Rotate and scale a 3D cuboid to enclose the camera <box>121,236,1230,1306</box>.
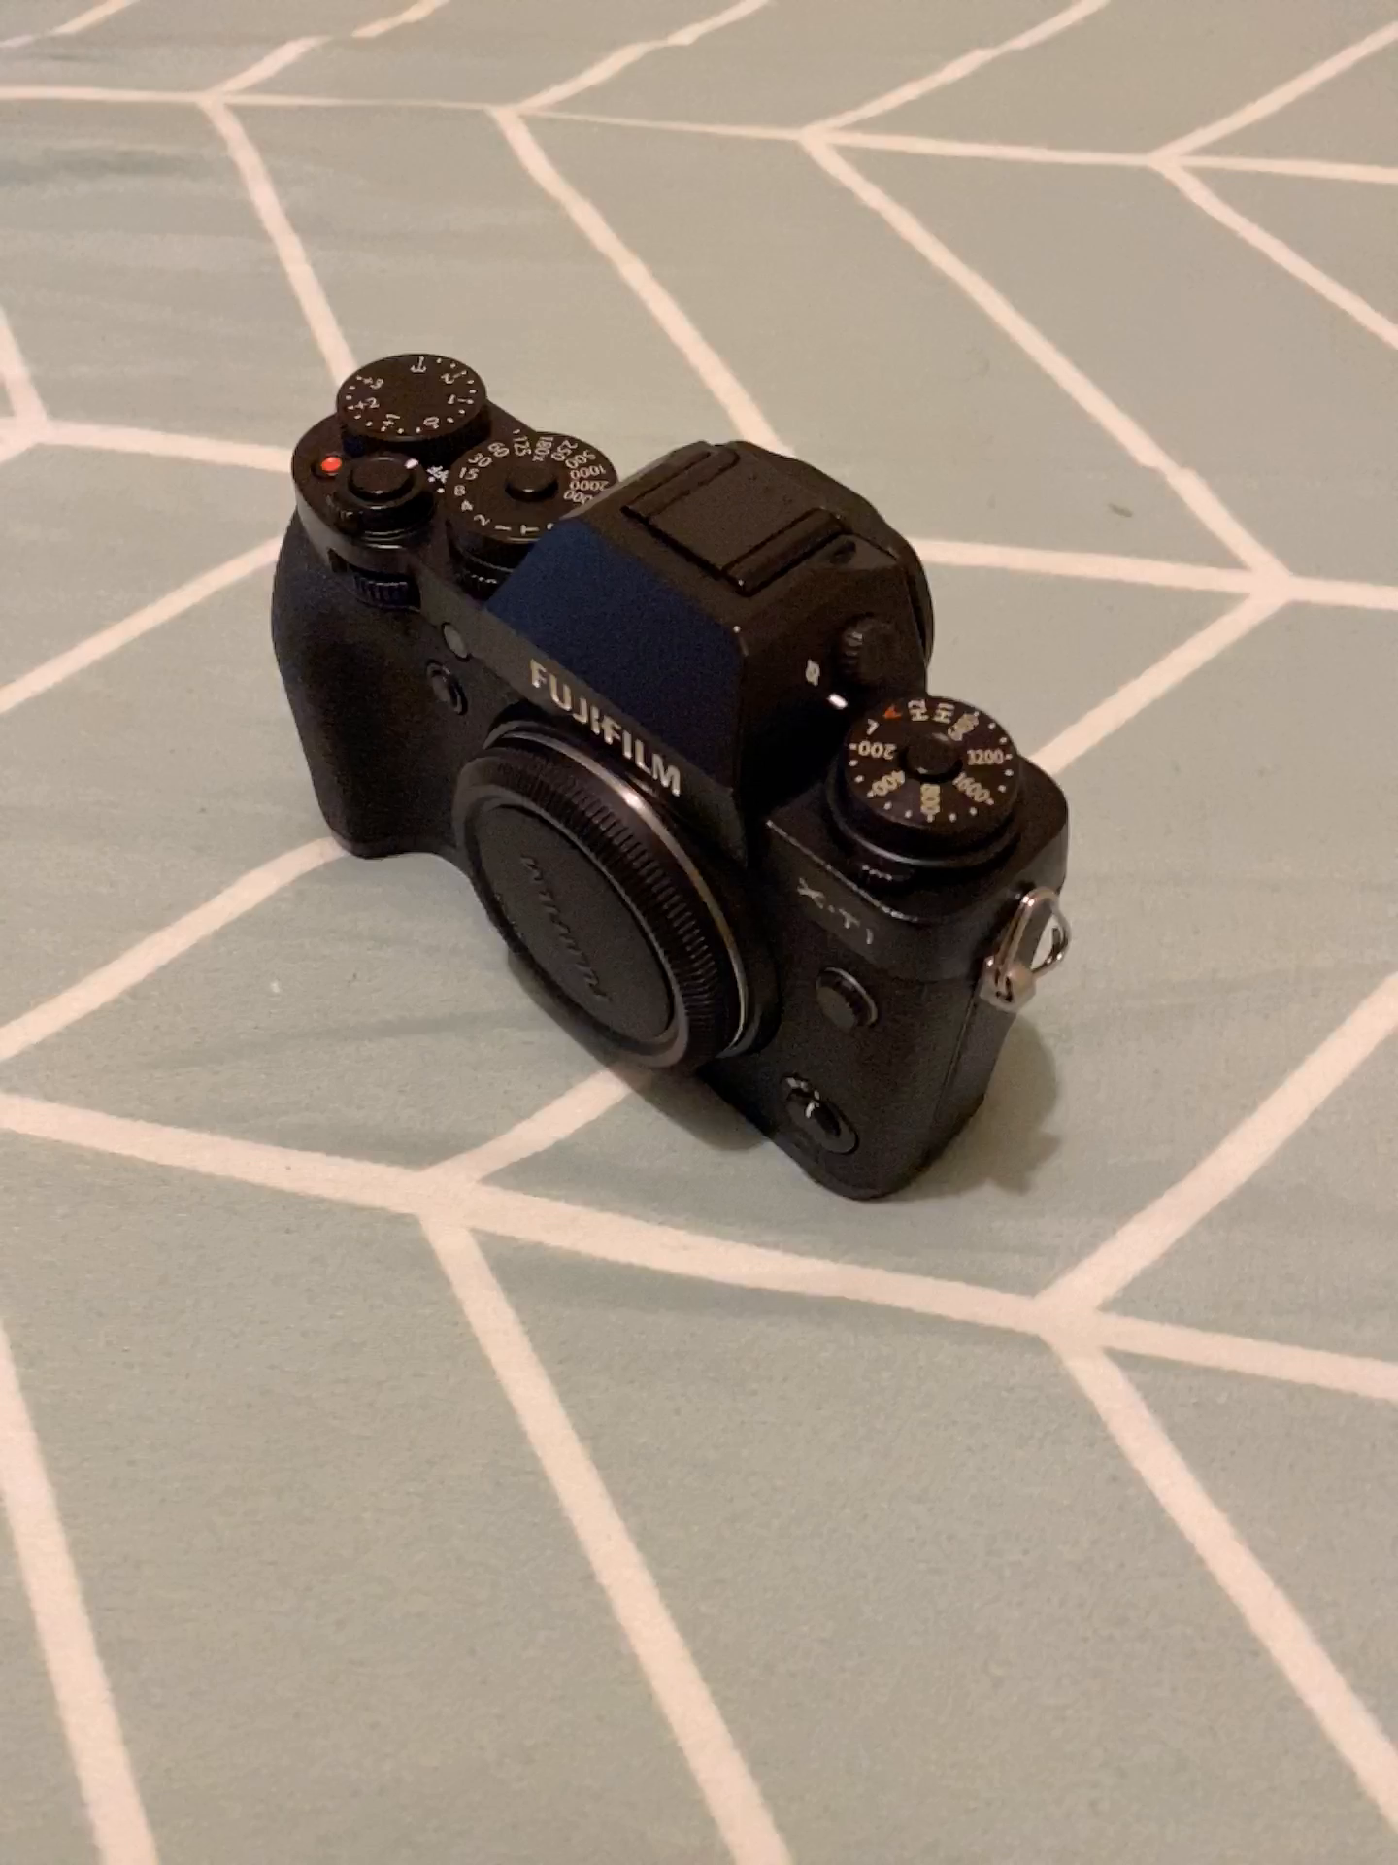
[{"bbox_3d":[-0.010,-0.027,0.214,0.142,0.082,0.054,38,62,25],"label":"camera"}]
